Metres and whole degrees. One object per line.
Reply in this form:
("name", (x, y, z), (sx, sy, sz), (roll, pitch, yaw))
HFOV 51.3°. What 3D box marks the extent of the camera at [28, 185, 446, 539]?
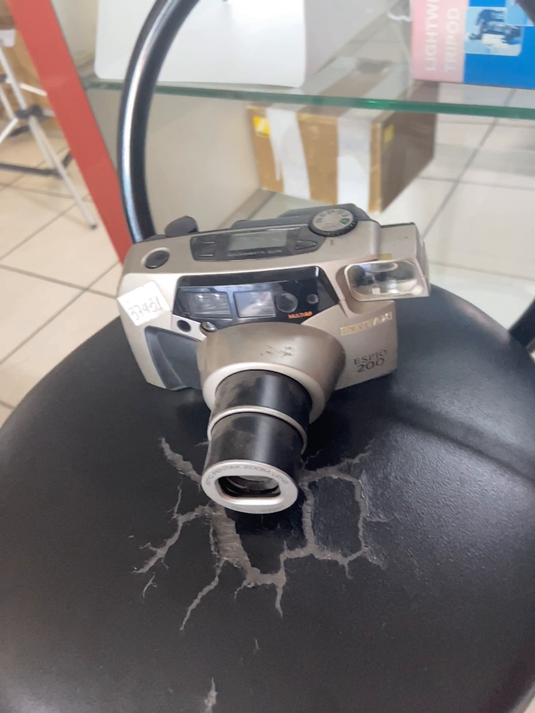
("camera", (-0.003, 0.001, 0.239), (0.130, 0.080, 0.121), (-5, 44, 9))
